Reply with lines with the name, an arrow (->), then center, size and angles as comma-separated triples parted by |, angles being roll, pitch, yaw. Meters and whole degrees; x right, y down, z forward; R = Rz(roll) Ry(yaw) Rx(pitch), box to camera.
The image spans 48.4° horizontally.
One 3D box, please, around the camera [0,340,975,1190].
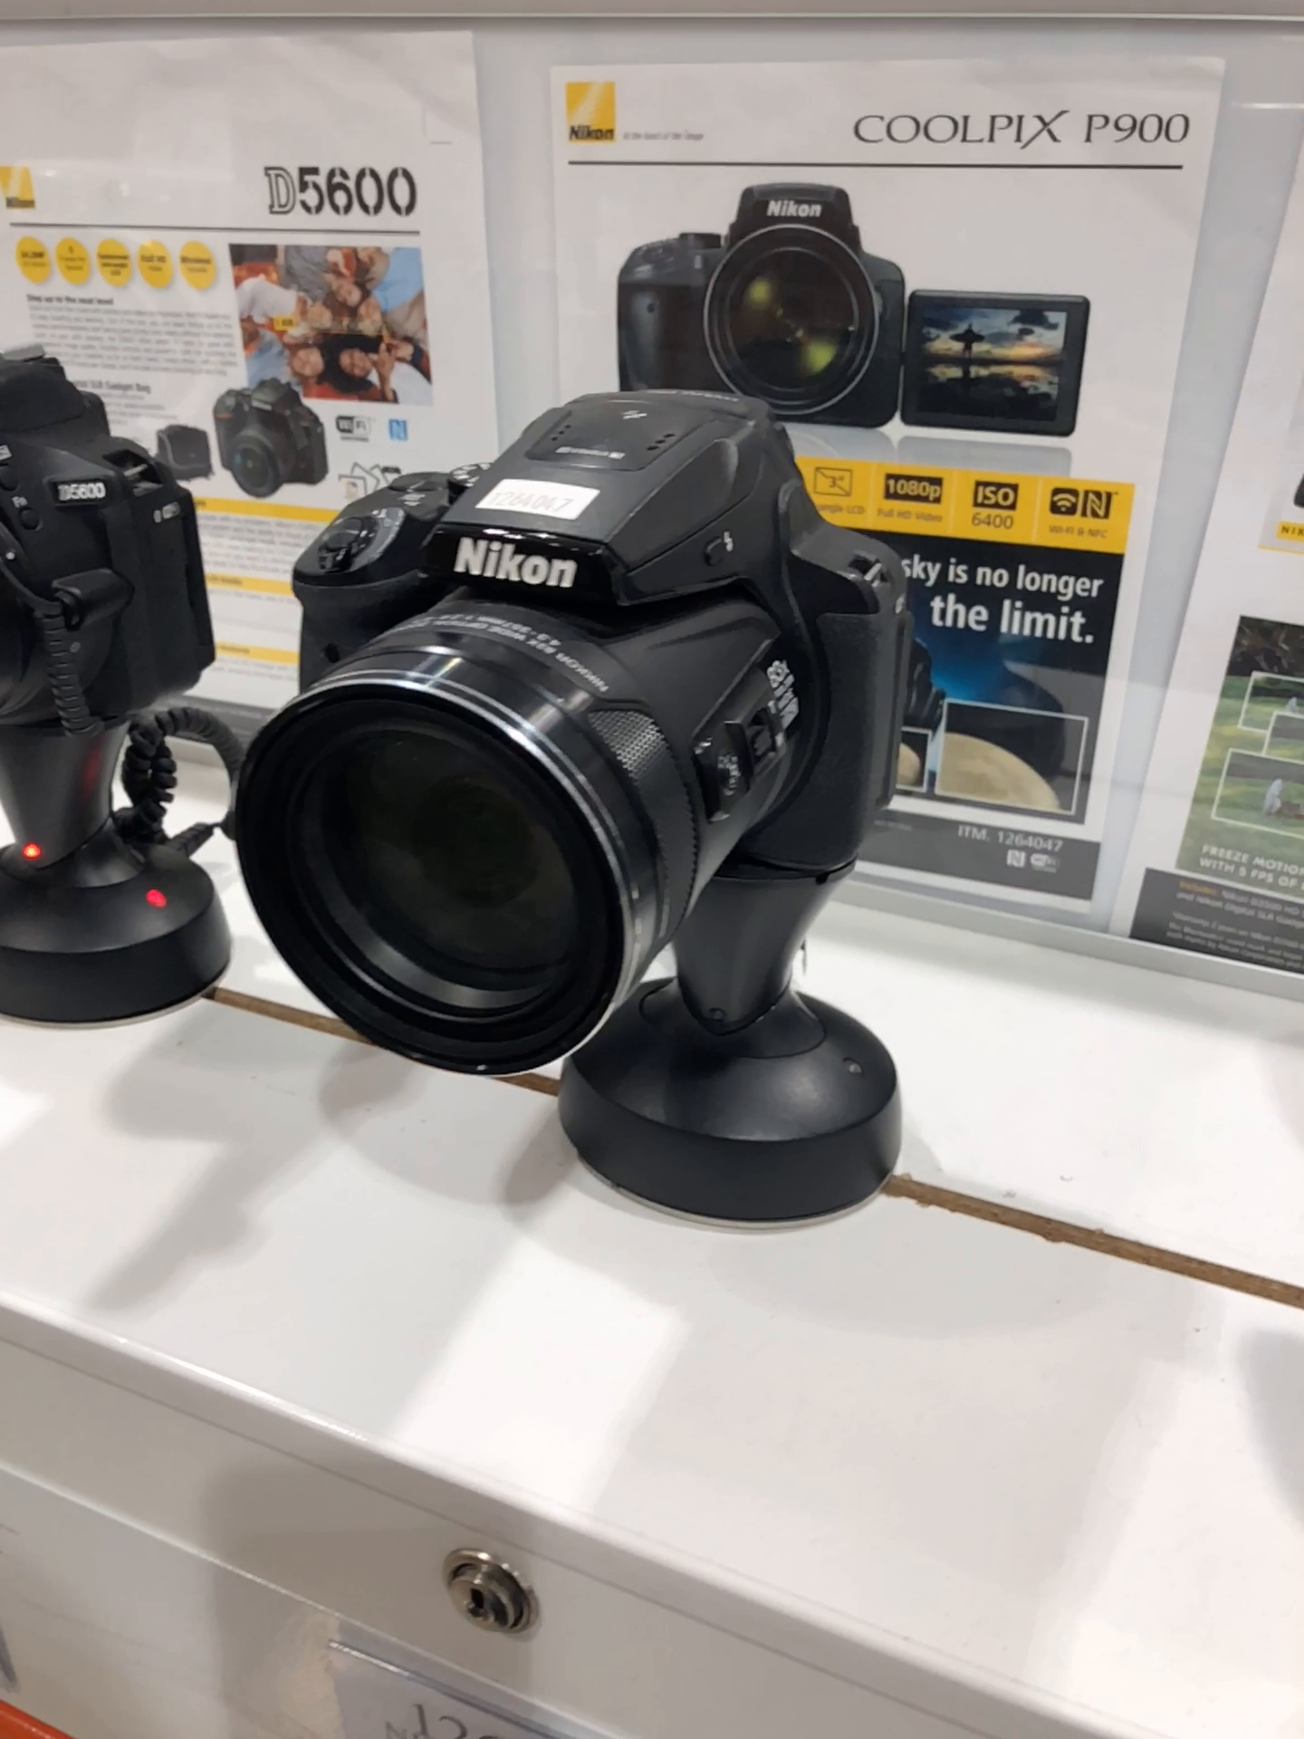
camera -> -0.024, -0.041, 0.298 | 0.140, 0.100, 0.161 | 11, 30, 18
